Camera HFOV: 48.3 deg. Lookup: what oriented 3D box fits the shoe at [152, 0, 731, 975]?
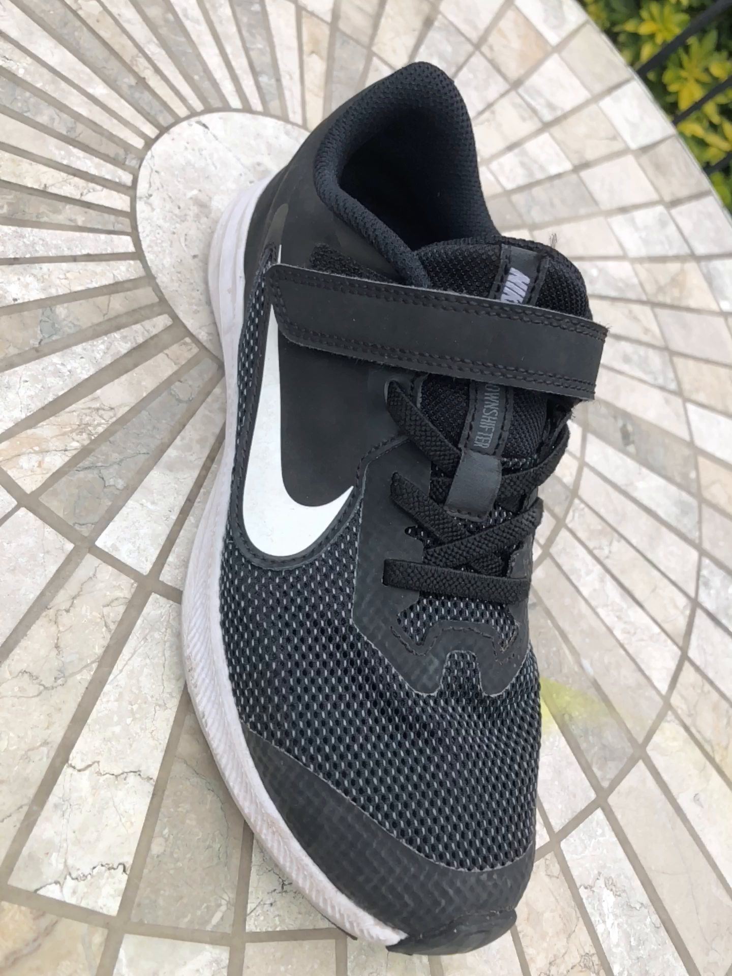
[{"bbox_3d":[0.011,-0.006,0.220,0.100,0.099,0.251,7,65,-33],"label":"shoe"}]
